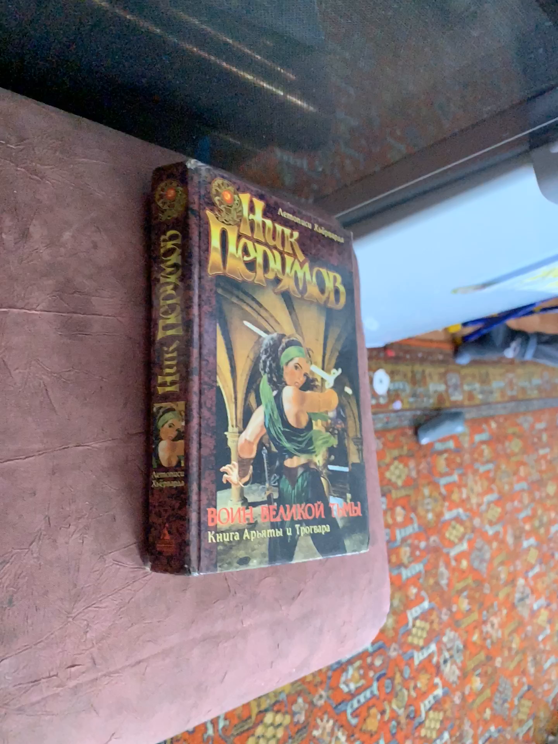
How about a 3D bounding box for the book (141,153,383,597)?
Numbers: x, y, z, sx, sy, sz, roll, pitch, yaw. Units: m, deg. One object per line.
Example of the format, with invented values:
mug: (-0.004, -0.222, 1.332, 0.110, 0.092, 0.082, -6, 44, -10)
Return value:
book: (-0.004, 0.005, 0.323, 0.140, 0.037, 0.205, 11, 73, -45)
